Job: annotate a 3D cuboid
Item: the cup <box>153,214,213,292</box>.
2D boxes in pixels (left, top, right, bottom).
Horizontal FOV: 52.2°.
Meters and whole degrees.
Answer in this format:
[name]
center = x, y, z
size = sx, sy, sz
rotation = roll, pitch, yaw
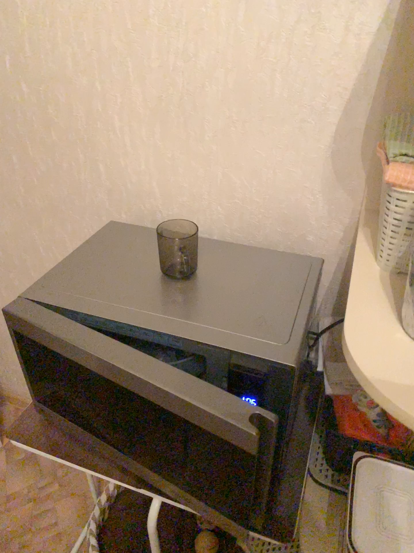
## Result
[cup]
center = -0.043, -0.044, 0.730
size = 0.080, 0.079, 0.111
rotation = -8, 34, -12
